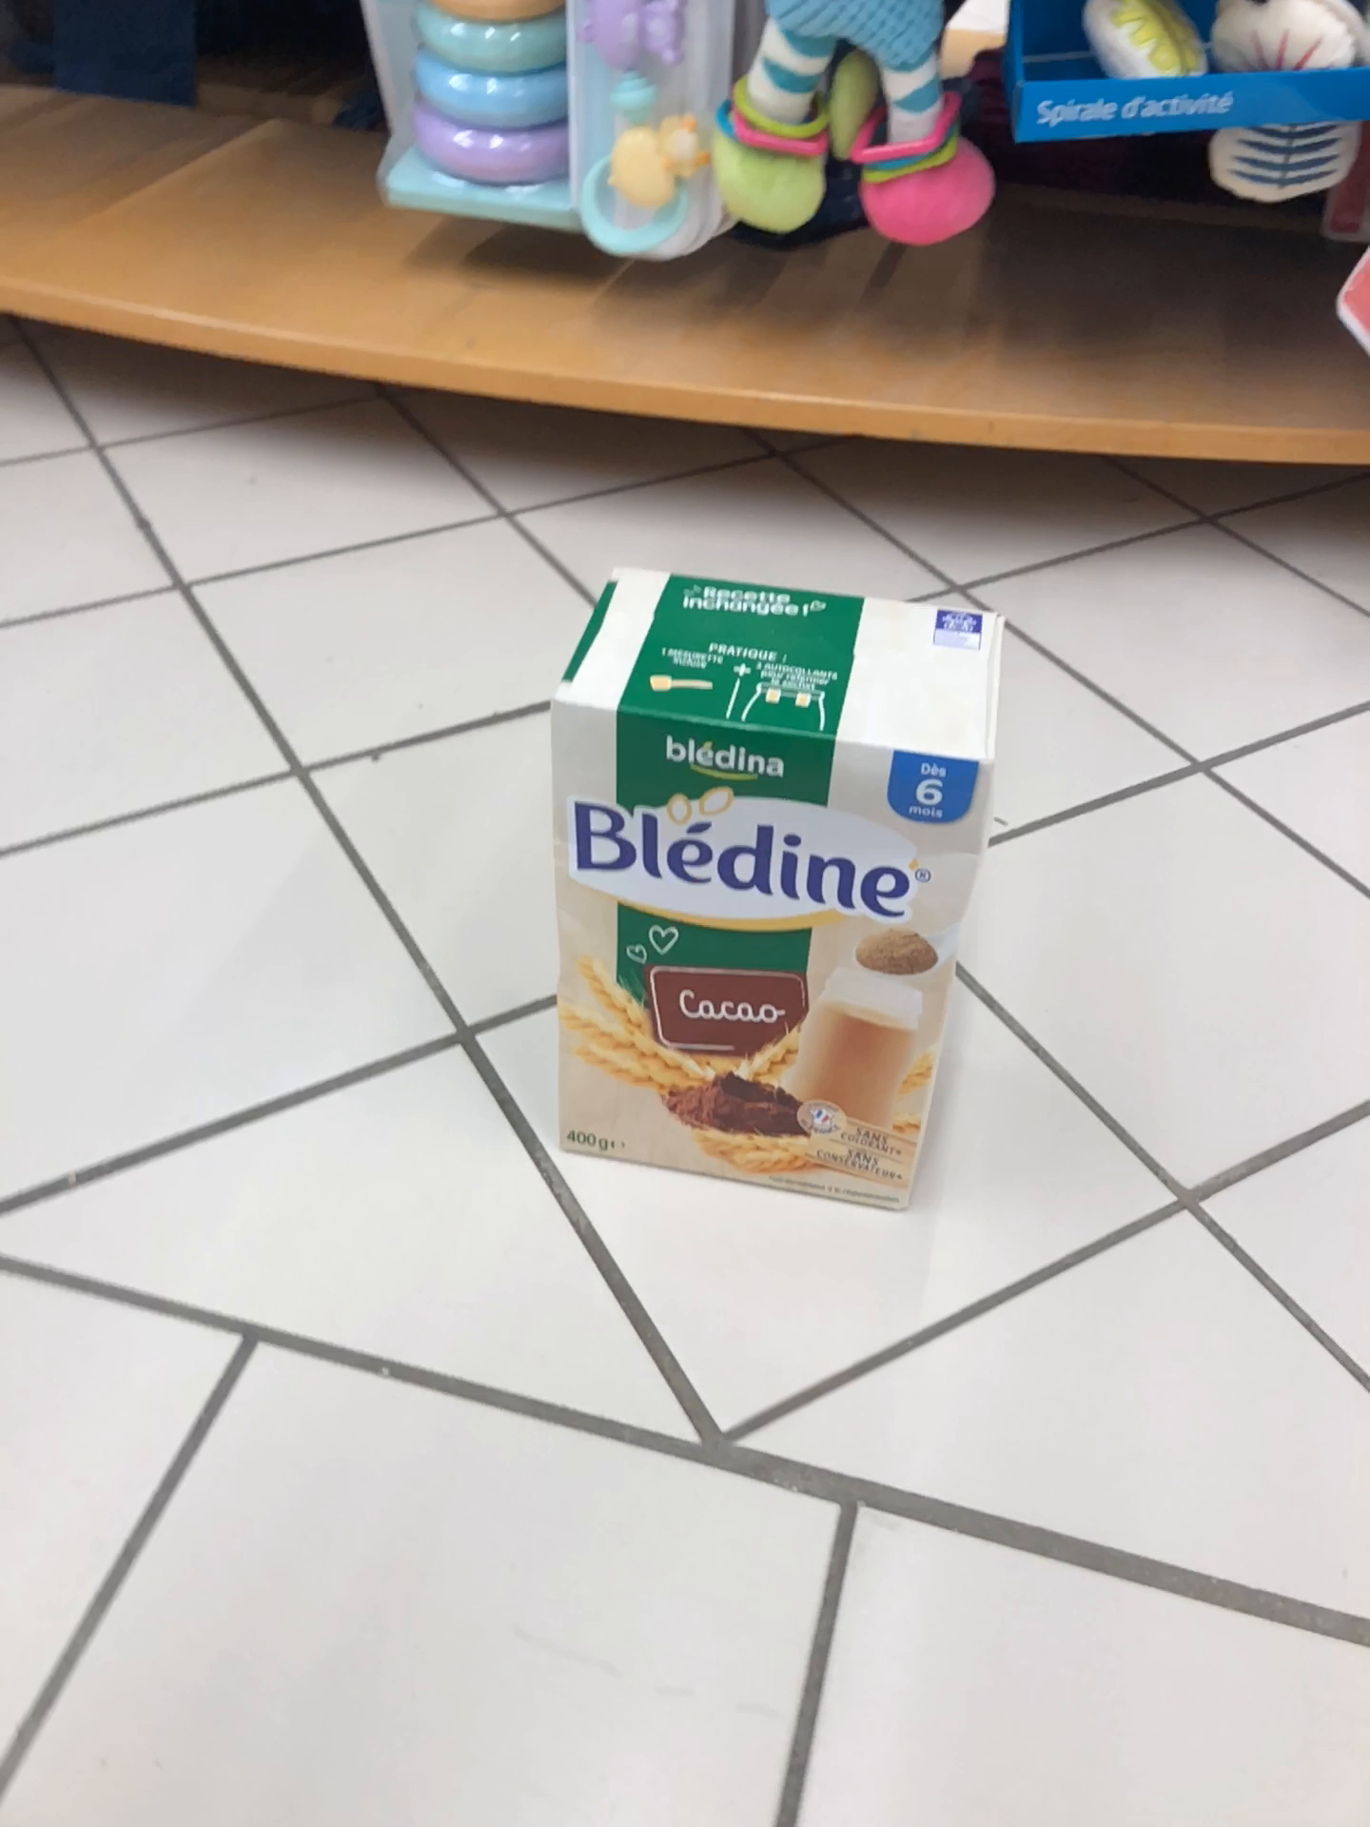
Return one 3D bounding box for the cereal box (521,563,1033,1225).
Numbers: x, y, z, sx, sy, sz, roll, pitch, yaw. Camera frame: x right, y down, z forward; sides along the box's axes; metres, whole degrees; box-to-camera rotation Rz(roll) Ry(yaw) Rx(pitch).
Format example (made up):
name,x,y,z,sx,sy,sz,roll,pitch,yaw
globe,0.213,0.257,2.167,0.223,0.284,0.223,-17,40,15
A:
name,x,y,z,sx,sy,sz,roll,pitch,yaw
cereal box,0.028,-0.002,0.507,0.140,0.189,0.091,9,41,7
